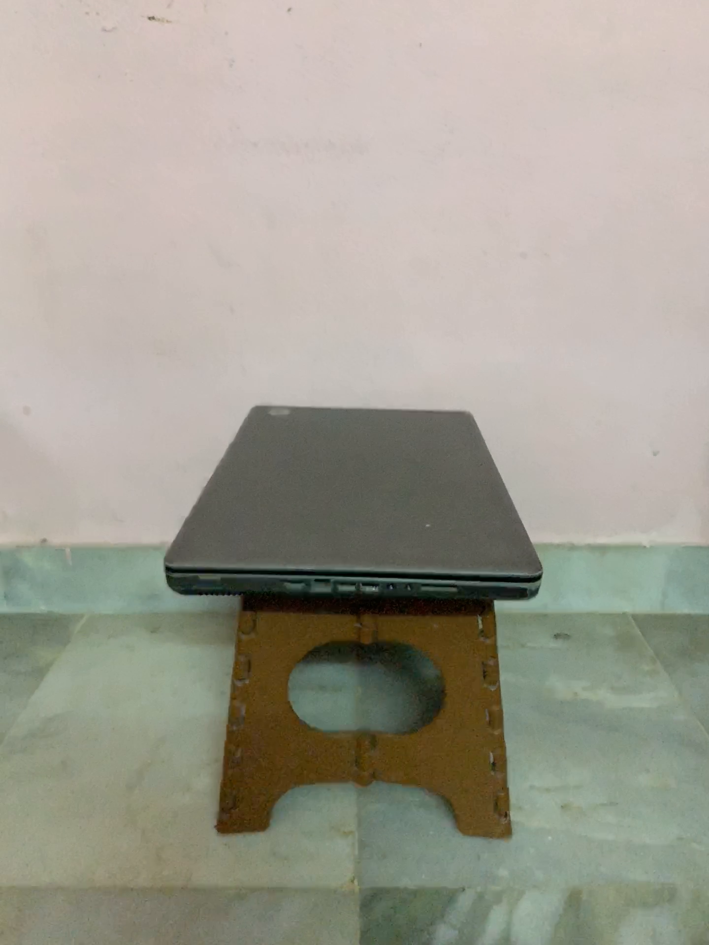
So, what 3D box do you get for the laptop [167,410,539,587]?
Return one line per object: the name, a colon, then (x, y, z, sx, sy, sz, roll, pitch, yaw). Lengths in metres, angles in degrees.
laptop: (0.004, 0.002, 0.655, 0.242, 0.003, 0.380, 2, 21, 1)
